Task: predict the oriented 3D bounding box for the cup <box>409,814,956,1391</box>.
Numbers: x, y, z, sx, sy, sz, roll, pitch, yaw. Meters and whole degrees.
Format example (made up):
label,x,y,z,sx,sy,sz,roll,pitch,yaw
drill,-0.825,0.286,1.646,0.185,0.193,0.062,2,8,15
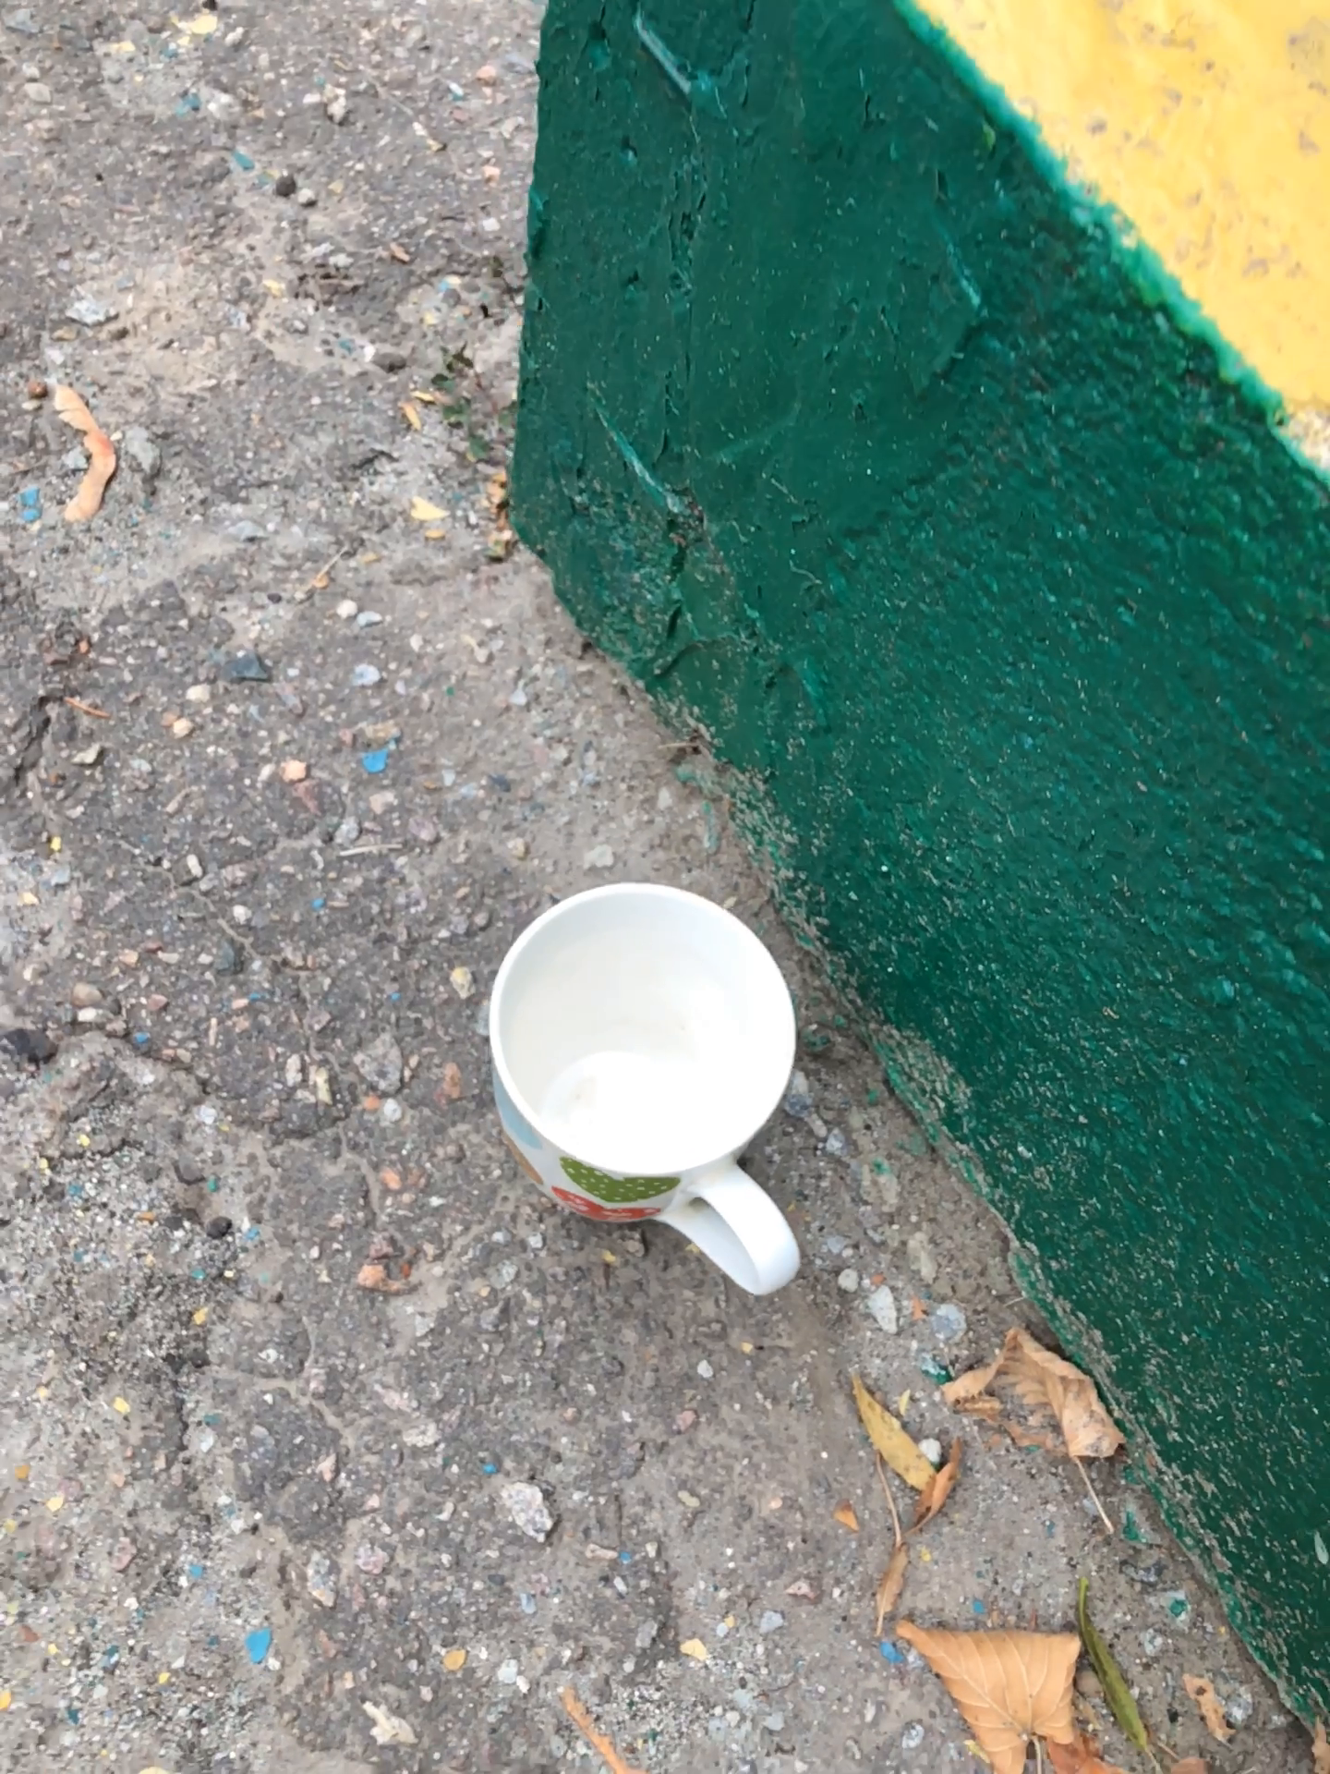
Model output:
label,x,y,z,sx,sy,sz,roll,pitch,yaw
cup,-0.001,0.061,0.408,0.082,0.079,0.116,-40,77,-23
